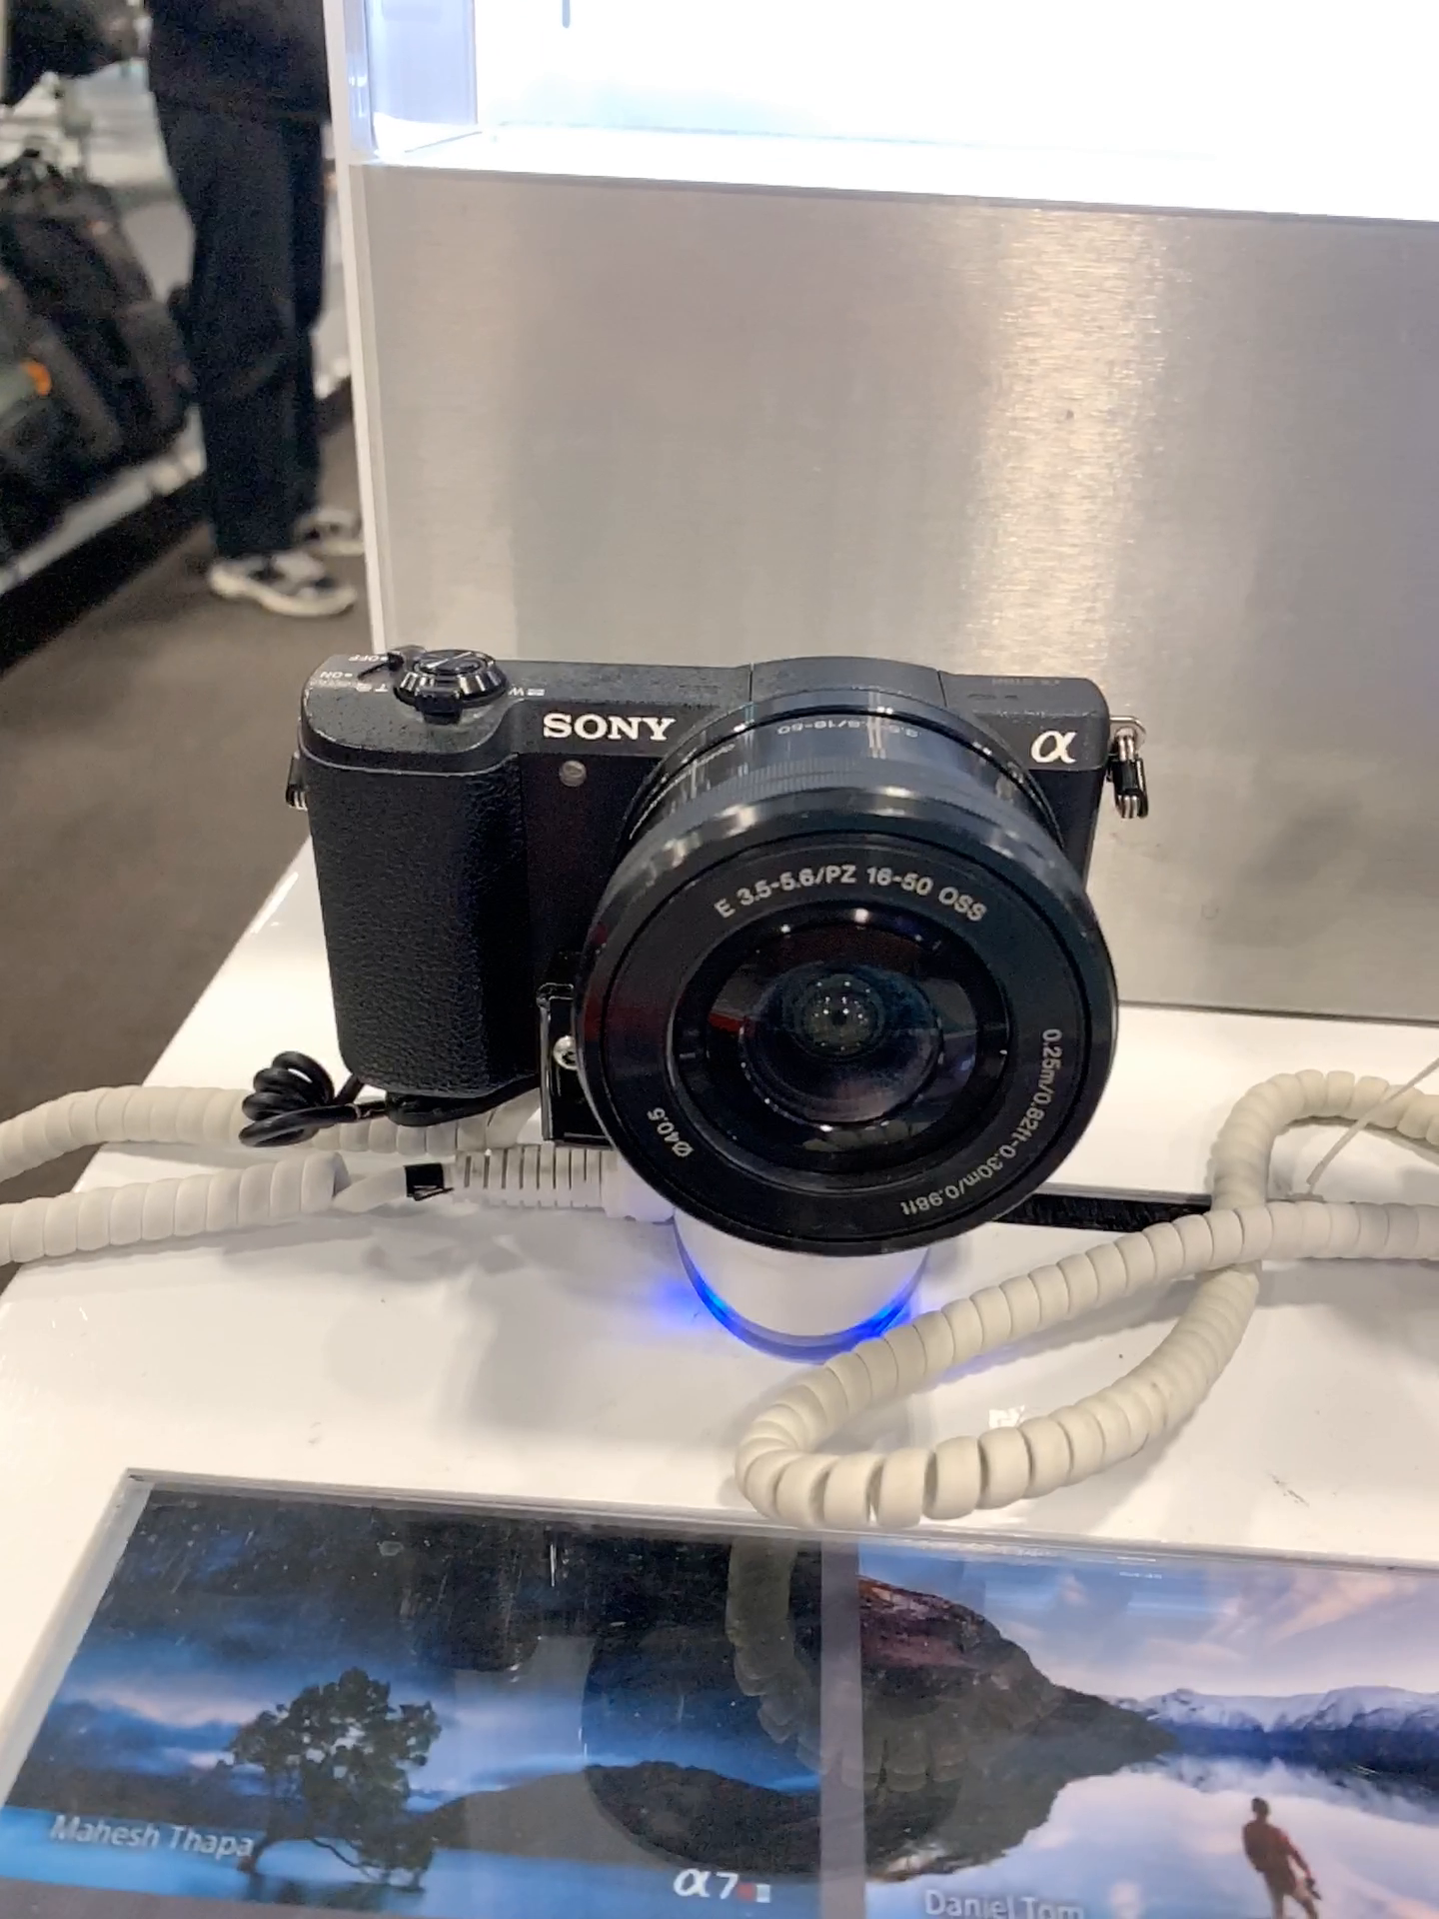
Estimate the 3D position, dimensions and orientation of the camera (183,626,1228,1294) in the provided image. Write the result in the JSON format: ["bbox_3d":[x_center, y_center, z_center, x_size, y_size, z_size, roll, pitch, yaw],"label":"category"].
[{"bbox_3d":[-0.002,-0.003,0.205,0.112,0.060,0.066,3,32,0],"label":"camera"}]

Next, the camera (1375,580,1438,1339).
[{"bbox_3d":[0.172,-0.006,0.193,0.136,0.060,0.071,5,27,4],"label":"camera"}]
